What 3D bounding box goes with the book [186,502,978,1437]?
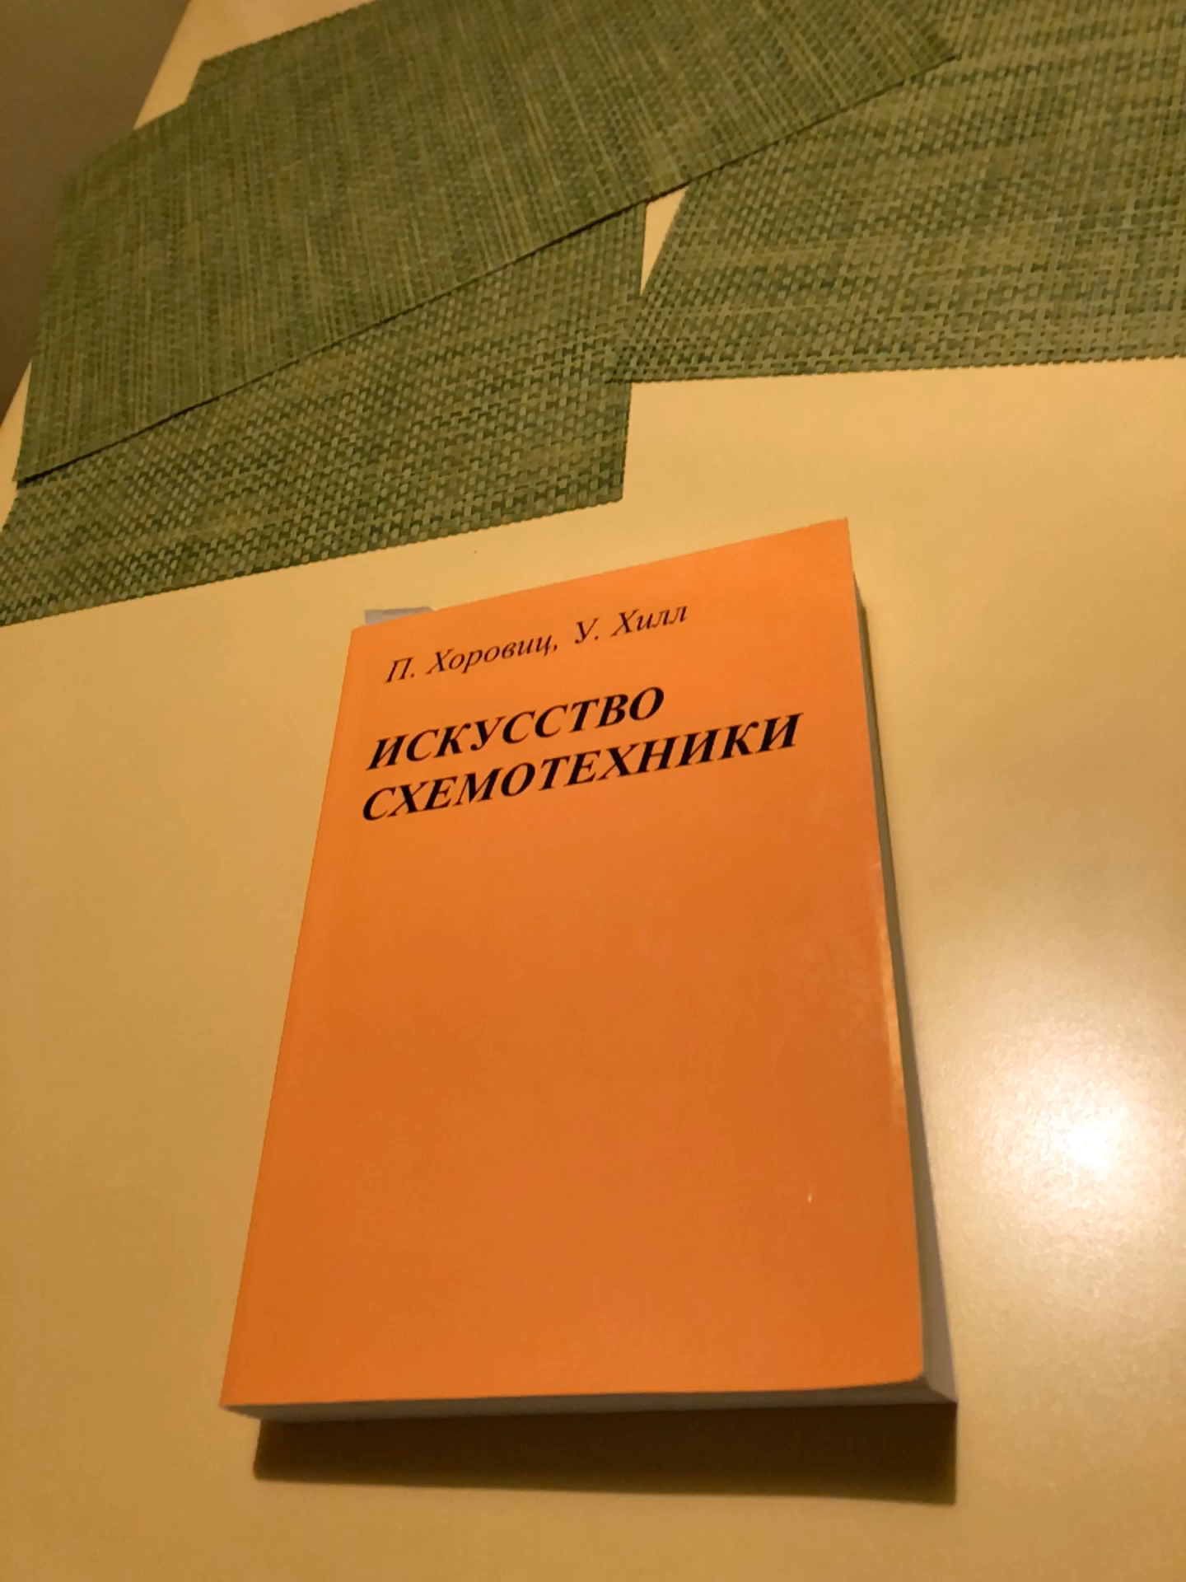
[{"bbox_3d":[0.000,0.041,0.357,0.171,0.048,0.239,-9,55,18],"label":"book"}]
